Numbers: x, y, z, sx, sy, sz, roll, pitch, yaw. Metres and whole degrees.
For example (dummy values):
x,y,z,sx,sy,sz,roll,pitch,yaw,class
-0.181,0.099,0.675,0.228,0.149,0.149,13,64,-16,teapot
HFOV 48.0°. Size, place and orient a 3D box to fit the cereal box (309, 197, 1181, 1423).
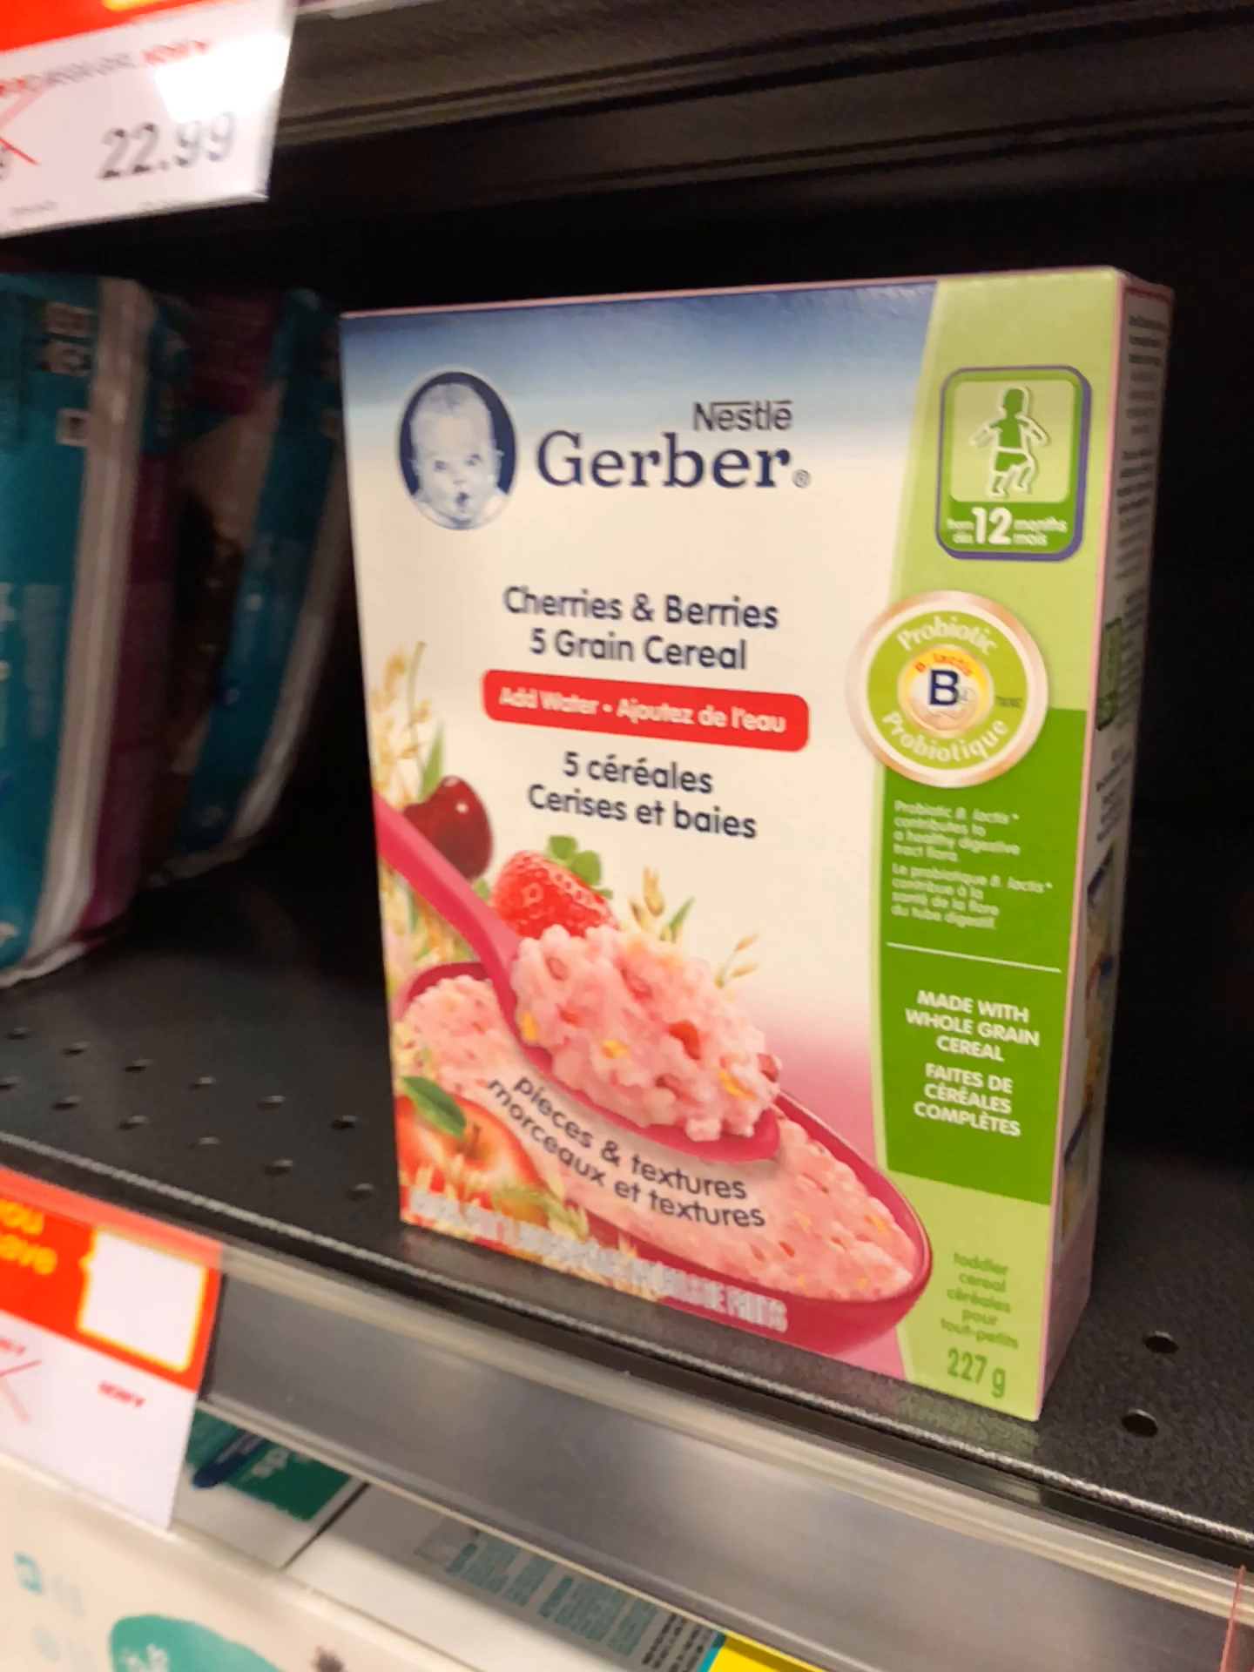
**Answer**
x,y,z,sx,sy,sz,roll,pitch,yaw,class
0.017,-0.006,0.275,0.150,0.199,0.040,8,18,29,cereal box
